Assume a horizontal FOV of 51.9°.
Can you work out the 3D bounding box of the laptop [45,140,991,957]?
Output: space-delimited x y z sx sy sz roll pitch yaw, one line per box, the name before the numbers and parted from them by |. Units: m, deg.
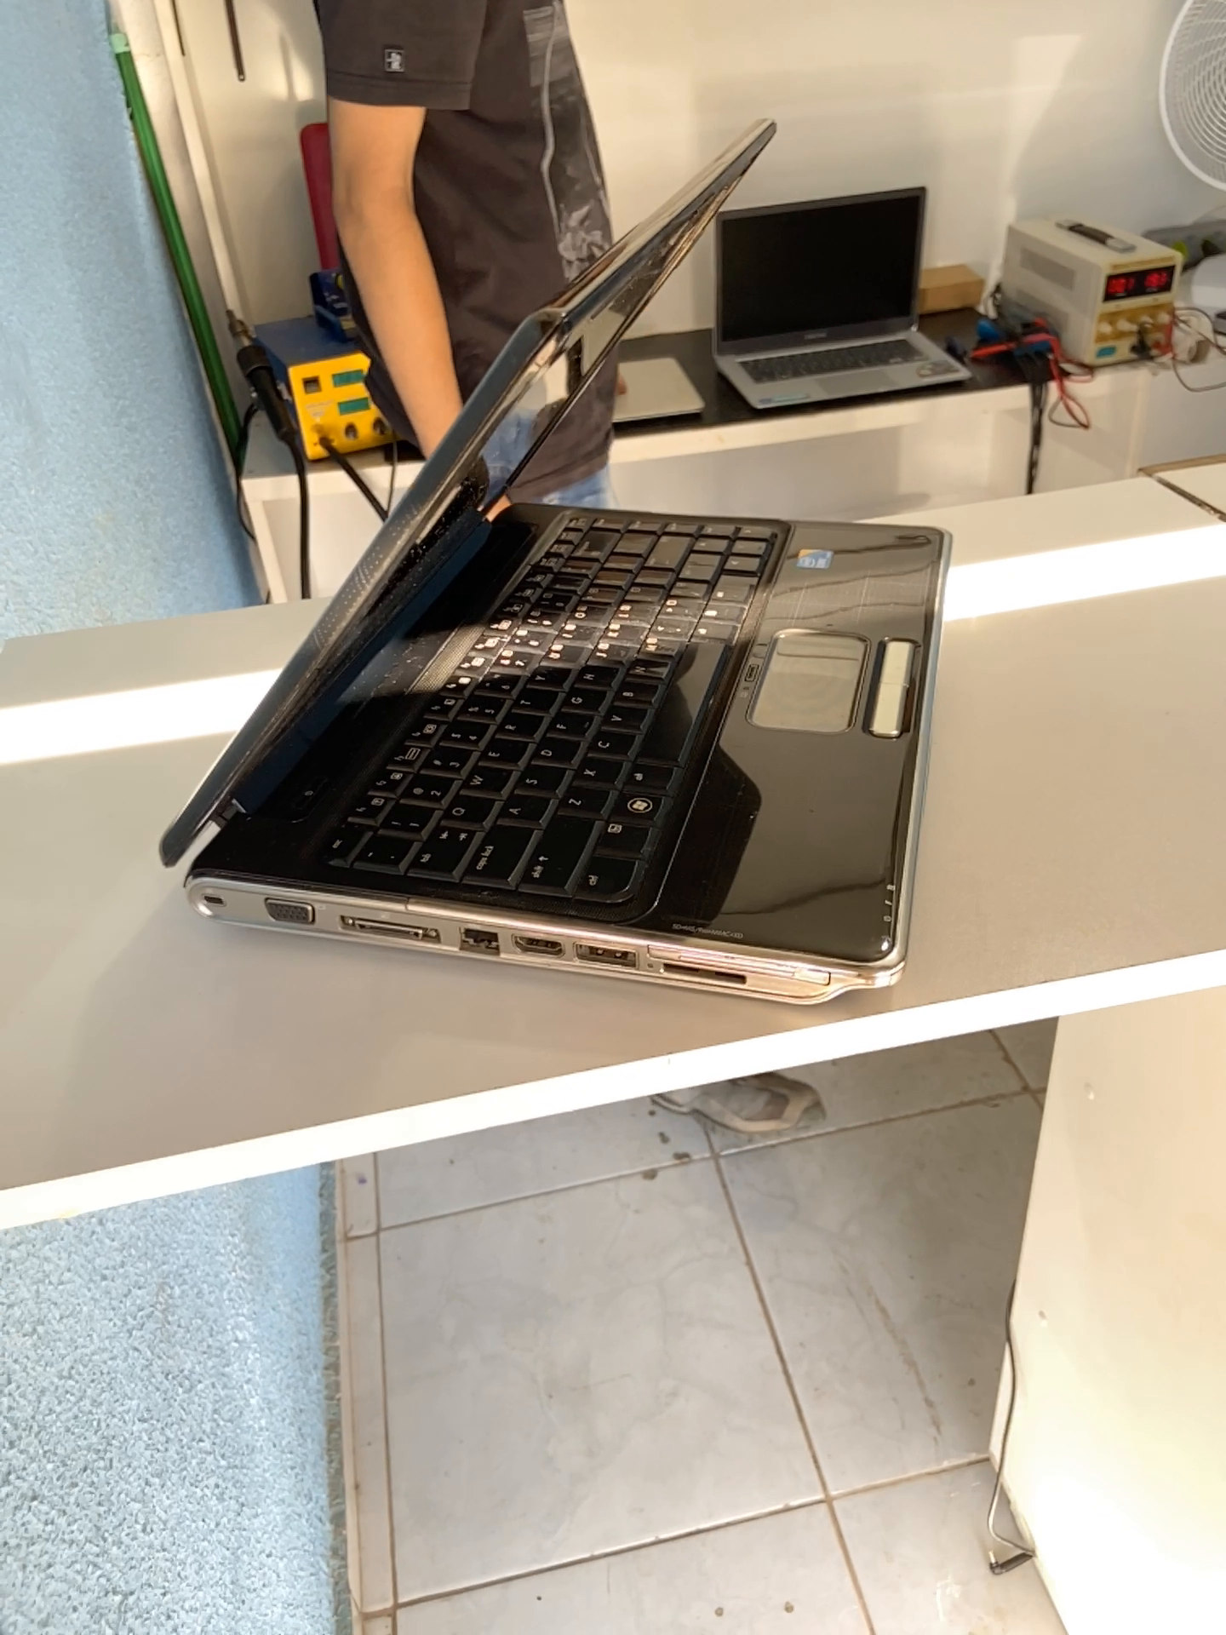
laptop | 0.013 -0.134 0.468 0.225 0.165 0.327 6 36 14
